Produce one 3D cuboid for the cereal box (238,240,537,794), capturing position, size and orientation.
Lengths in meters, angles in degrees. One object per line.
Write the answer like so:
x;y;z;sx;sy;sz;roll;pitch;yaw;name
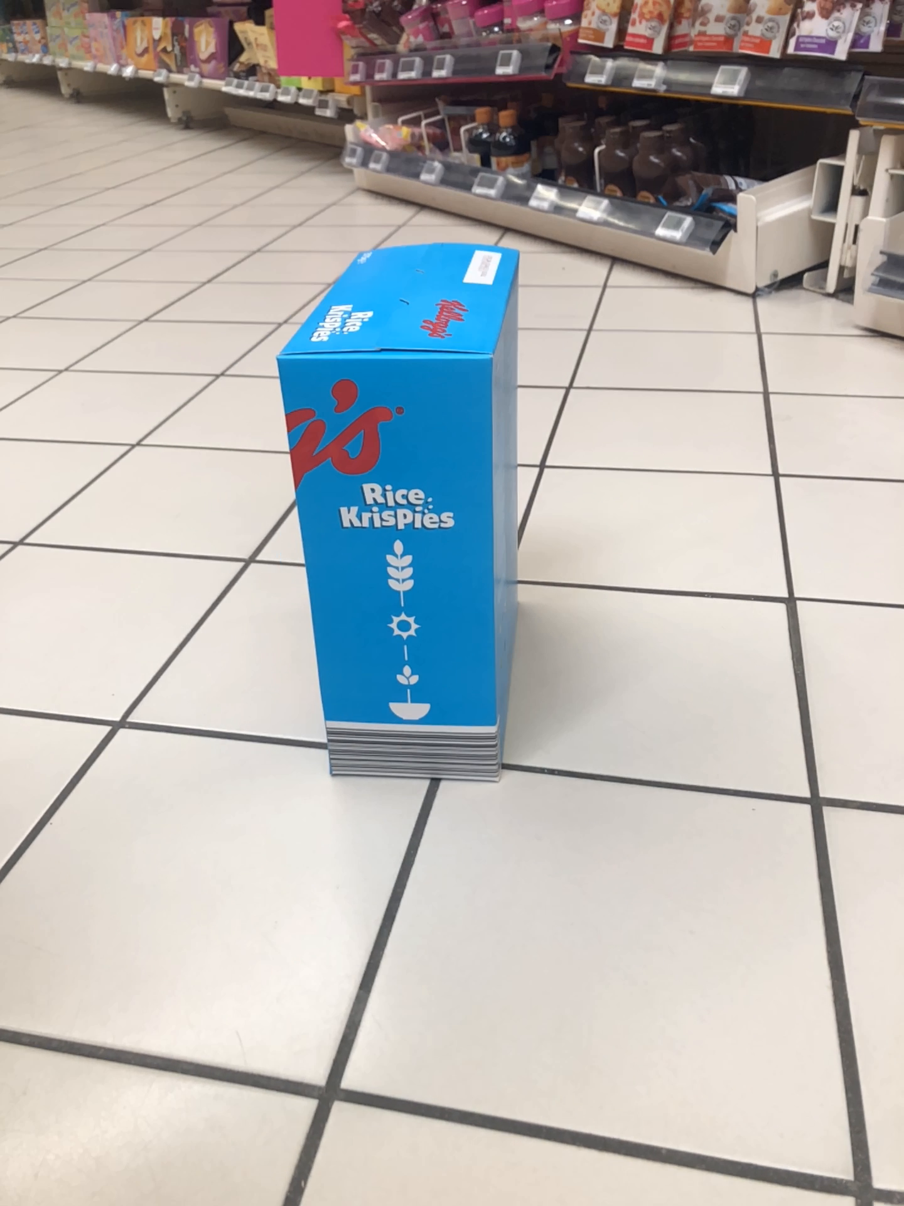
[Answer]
-0.015;-0.056;0.555;0.110;0.239;0.201;2;32;8;cereal box
